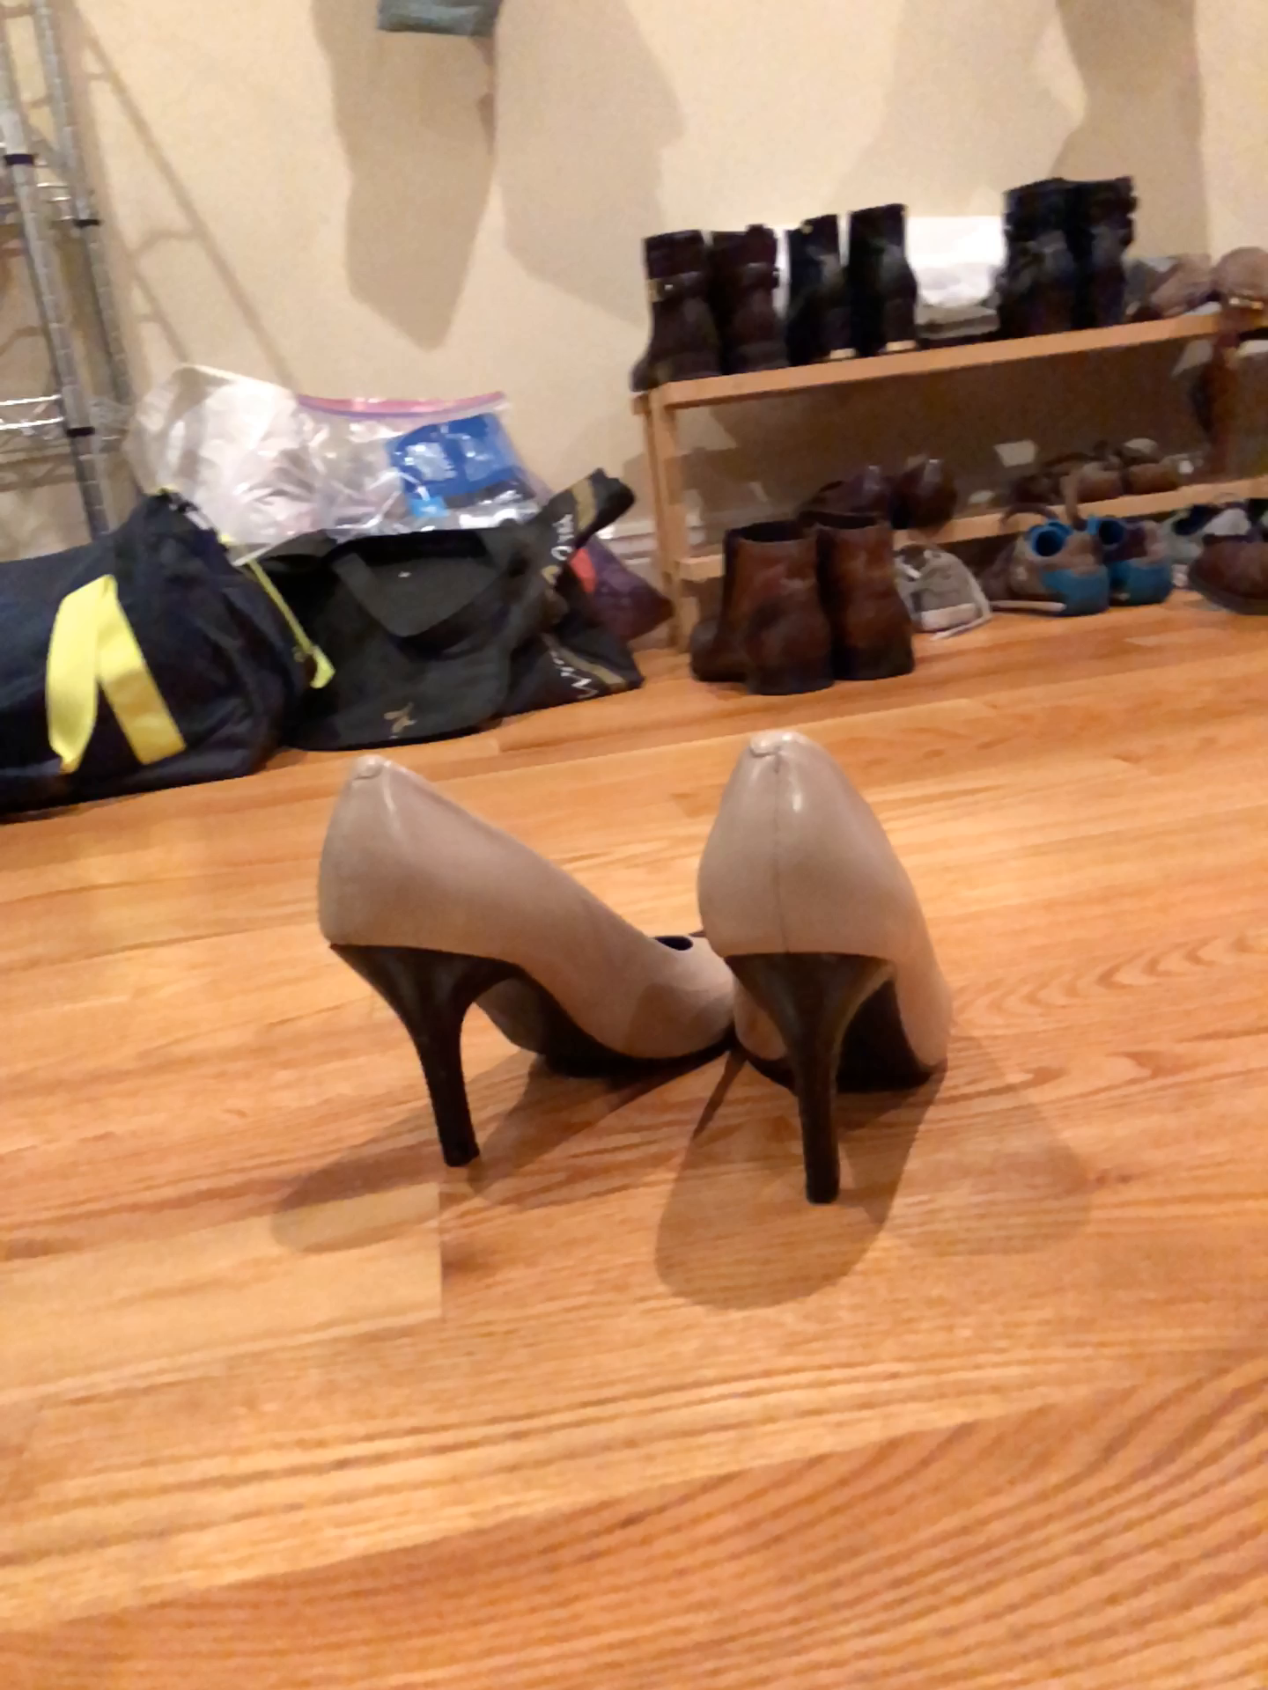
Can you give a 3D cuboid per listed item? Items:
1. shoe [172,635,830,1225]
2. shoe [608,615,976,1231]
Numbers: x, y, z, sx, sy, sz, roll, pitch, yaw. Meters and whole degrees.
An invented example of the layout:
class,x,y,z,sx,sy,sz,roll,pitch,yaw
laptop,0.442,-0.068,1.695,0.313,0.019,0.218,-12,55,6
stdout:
class,x,y,z,sx,sy,sz,roll,pitch,yaw
shoe,-0.031,0.012,0.512,0.085,0.139,0.235,5,19,39
shoe,0.063,0.008,0.481,0.085,0.139,0.236,-4,15,11
